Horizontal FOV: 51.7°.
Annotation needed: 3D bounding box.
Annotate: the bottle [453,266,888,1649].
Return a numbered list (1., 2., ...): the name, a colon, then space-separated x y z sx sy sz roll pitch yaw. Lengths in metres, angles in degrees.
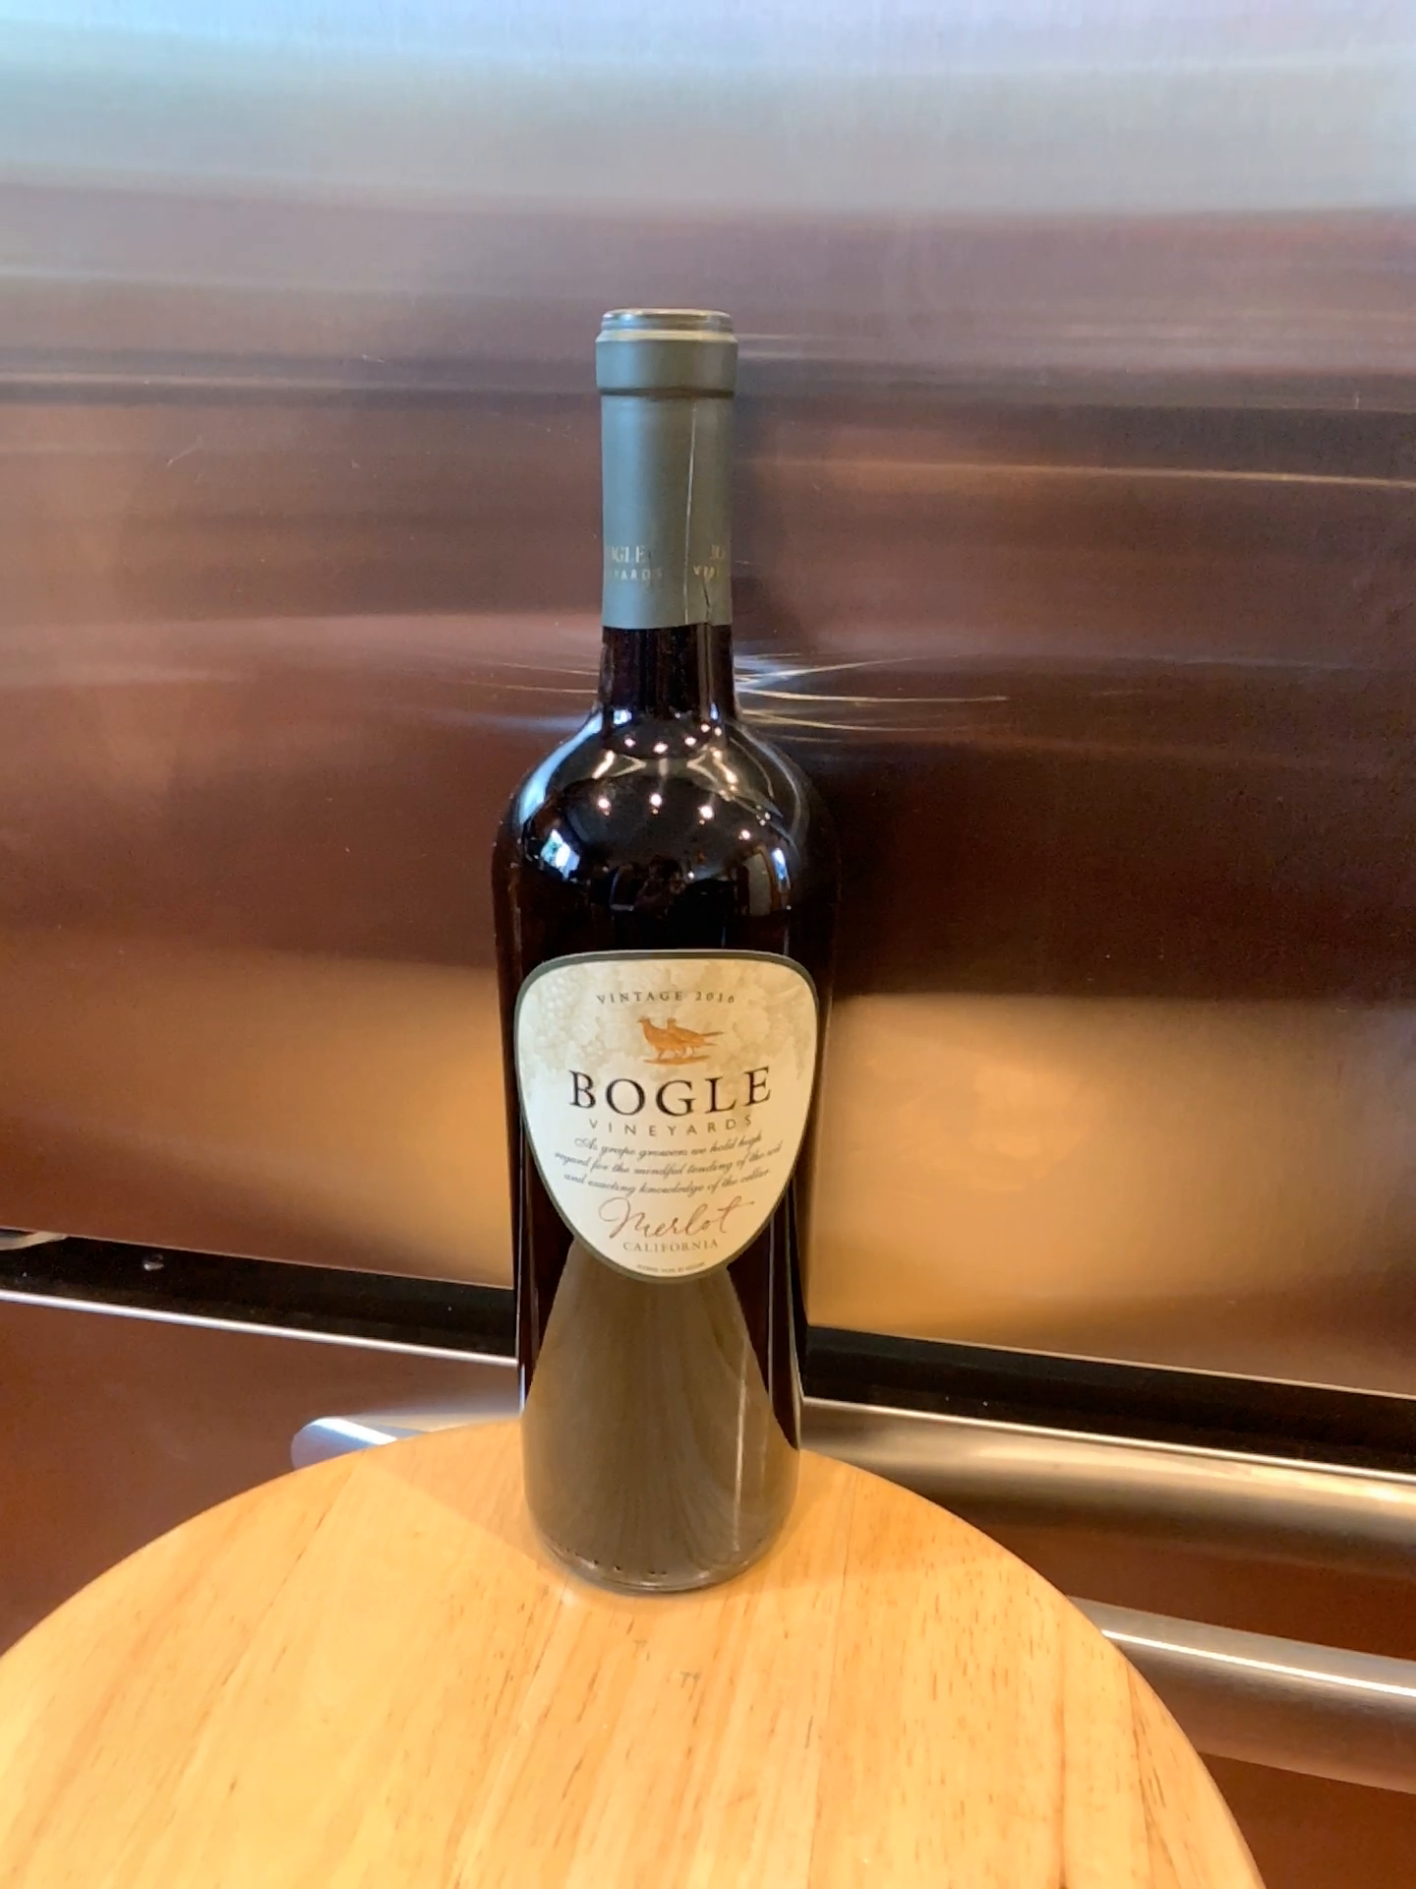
1. bottle: -0.015 0.012 0.361 0.080 0.319 0.080 1 19 0
